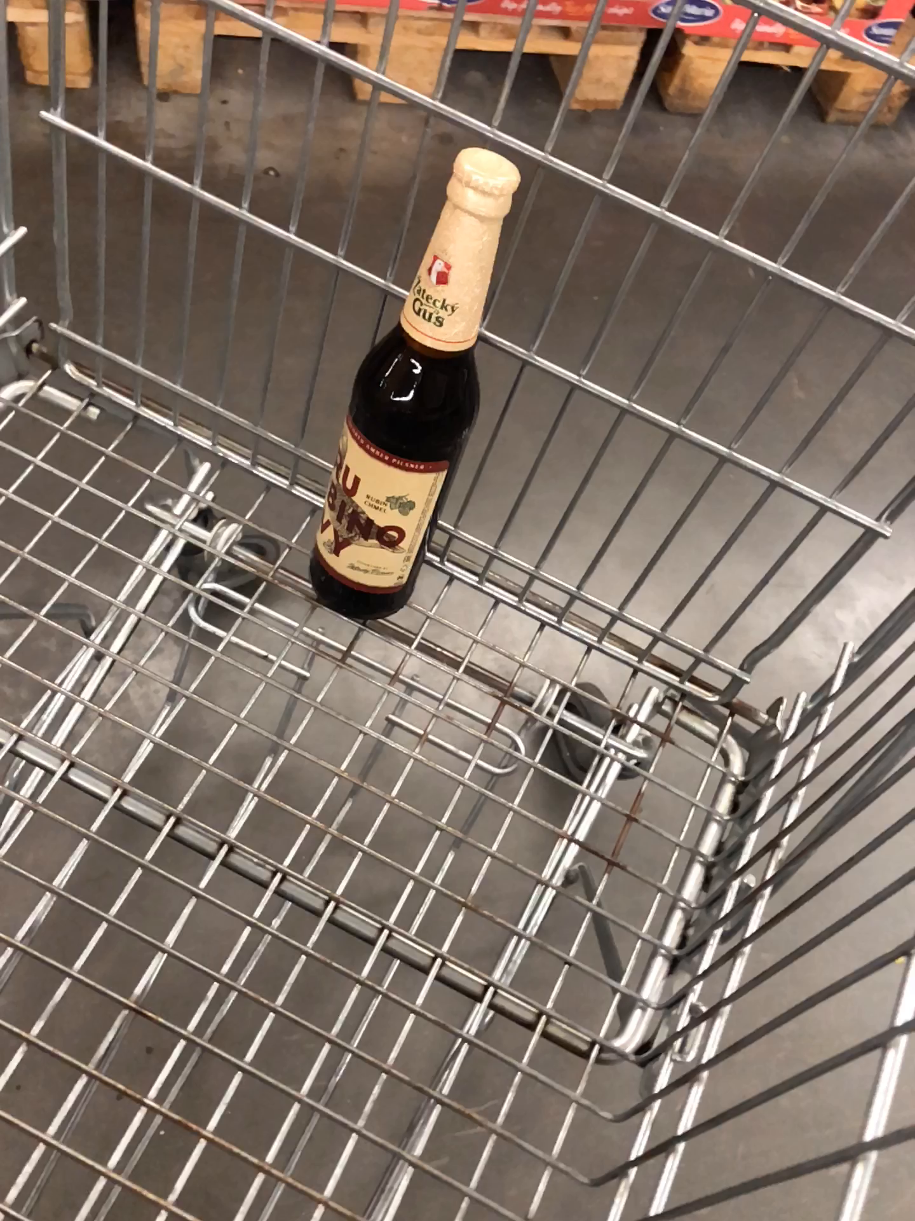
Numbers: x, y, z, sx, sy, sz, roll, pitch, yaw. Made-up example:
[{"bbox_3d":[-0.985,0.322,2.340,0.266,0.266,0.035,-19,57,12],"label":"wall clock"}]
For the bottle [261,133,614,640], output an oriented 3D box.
[{"bbox_3d":[-0.021,-0.105,0.517,0.080,0.239,0.080,14,43,-13],"label":"bottle"}]
